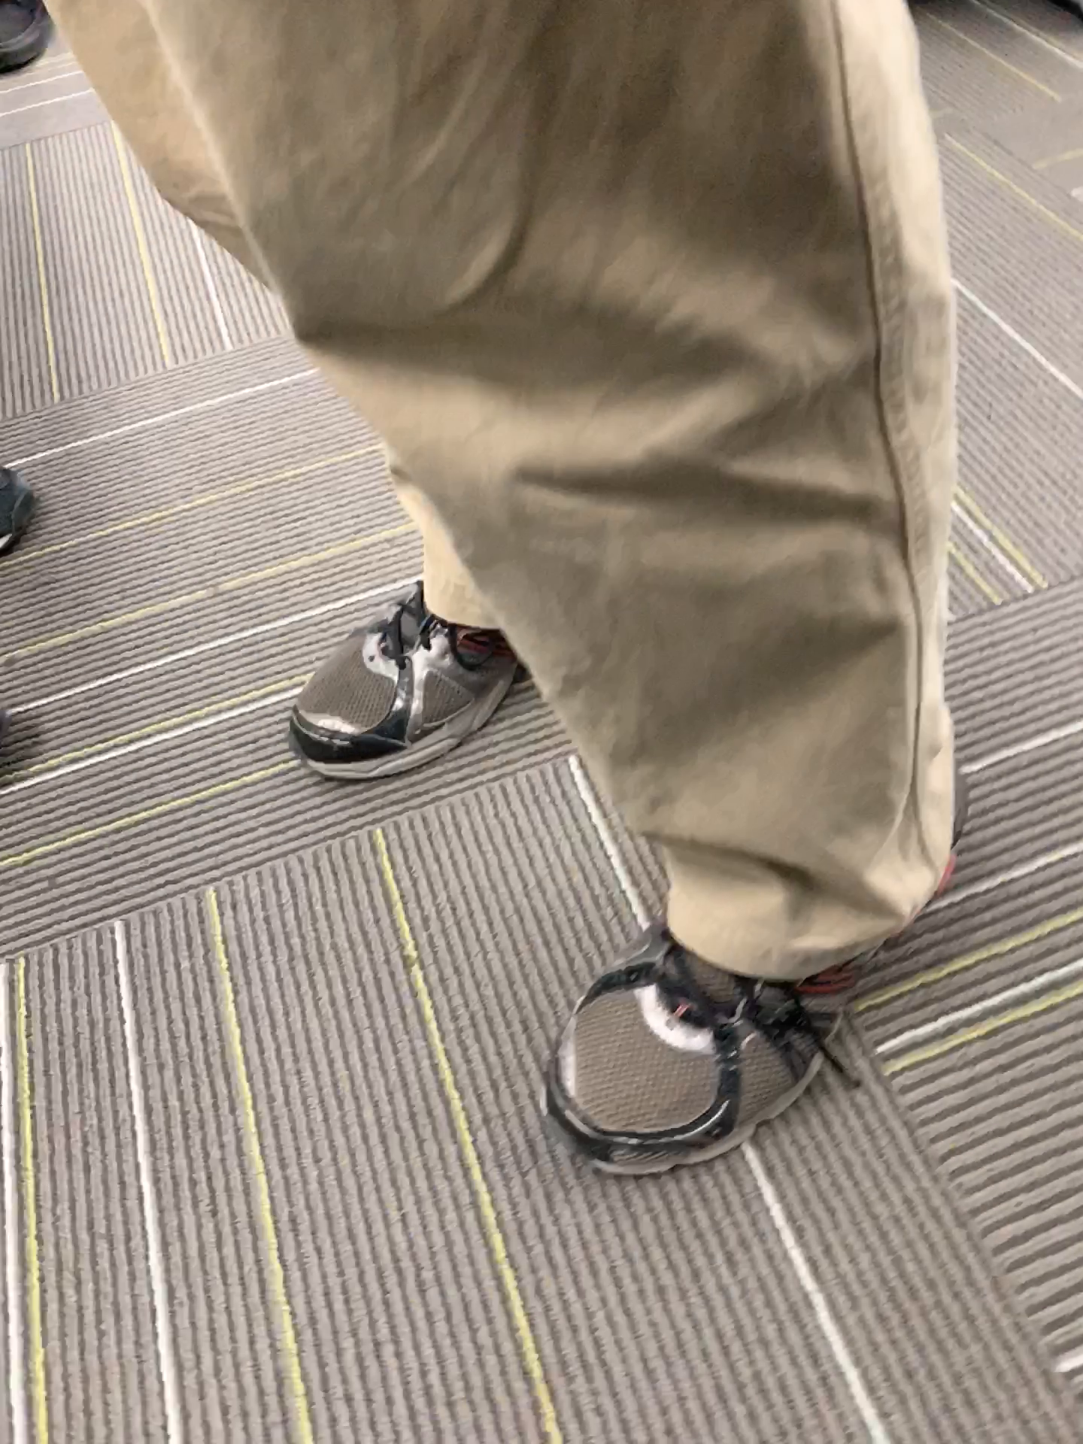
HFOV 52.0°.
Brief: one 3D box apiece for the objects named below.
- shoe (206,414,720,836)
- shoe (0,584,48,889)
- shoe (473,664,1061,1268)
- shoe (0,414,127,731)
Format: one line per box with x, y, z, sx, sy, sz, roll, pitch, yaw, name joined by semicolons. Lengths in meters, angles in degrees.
-0.045;-0.077;0.775;0.327;0.087;0.135;-33;54;-17;shoe
-0.511;0.008;0.778;0.279;0.085;0.139;-11;51;0;shoe
0.129;0.119;0.613;0.316;0.087;0.131;-39;56;-21;shoe
-0.518;-0.126;0.901;0.315;0.087;0.131;-23;52;-10;shoe
